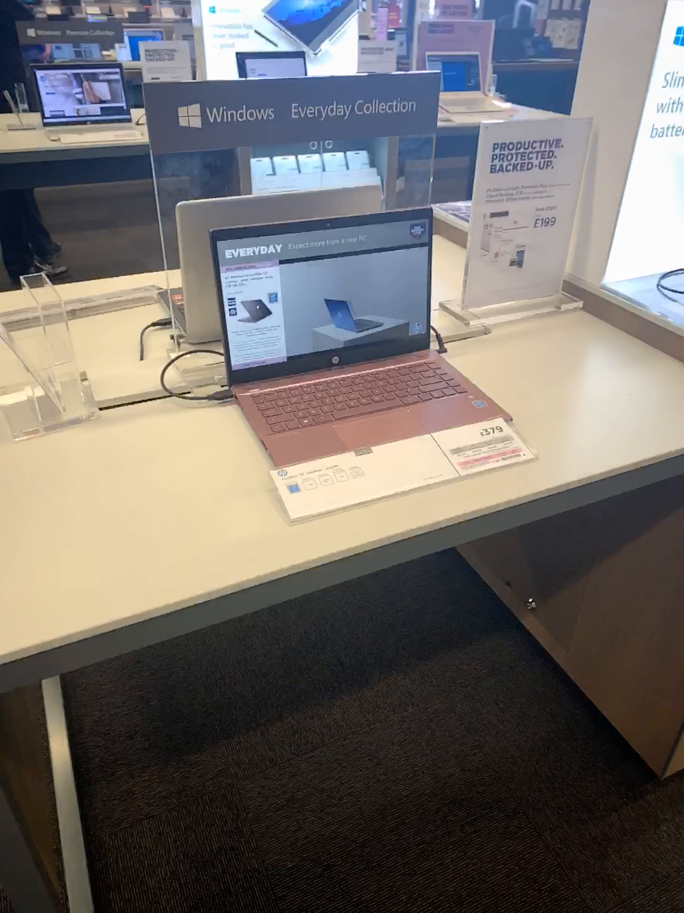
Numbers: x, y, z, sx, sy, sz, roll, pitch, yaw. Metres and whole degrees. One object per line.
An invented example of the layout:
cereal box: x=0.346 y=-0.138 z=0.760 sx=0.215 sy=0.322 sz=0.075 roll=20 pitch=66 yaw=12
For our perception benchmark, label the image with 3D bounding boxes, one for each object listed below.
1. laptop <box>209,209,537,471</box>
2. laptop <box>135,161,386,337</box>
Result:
laptop: x=0.026 y=-0.166 z=0.885 sx=0.312 sy=0.200 sz=0.251 roll=-12 pitch=36 yaw=-20
laptop: x=-0.135 y=-0.351 z=1.143 sx=0.324 sy=0.186 sz=0.245 roll=-14 pitch=35 yaw=-22
